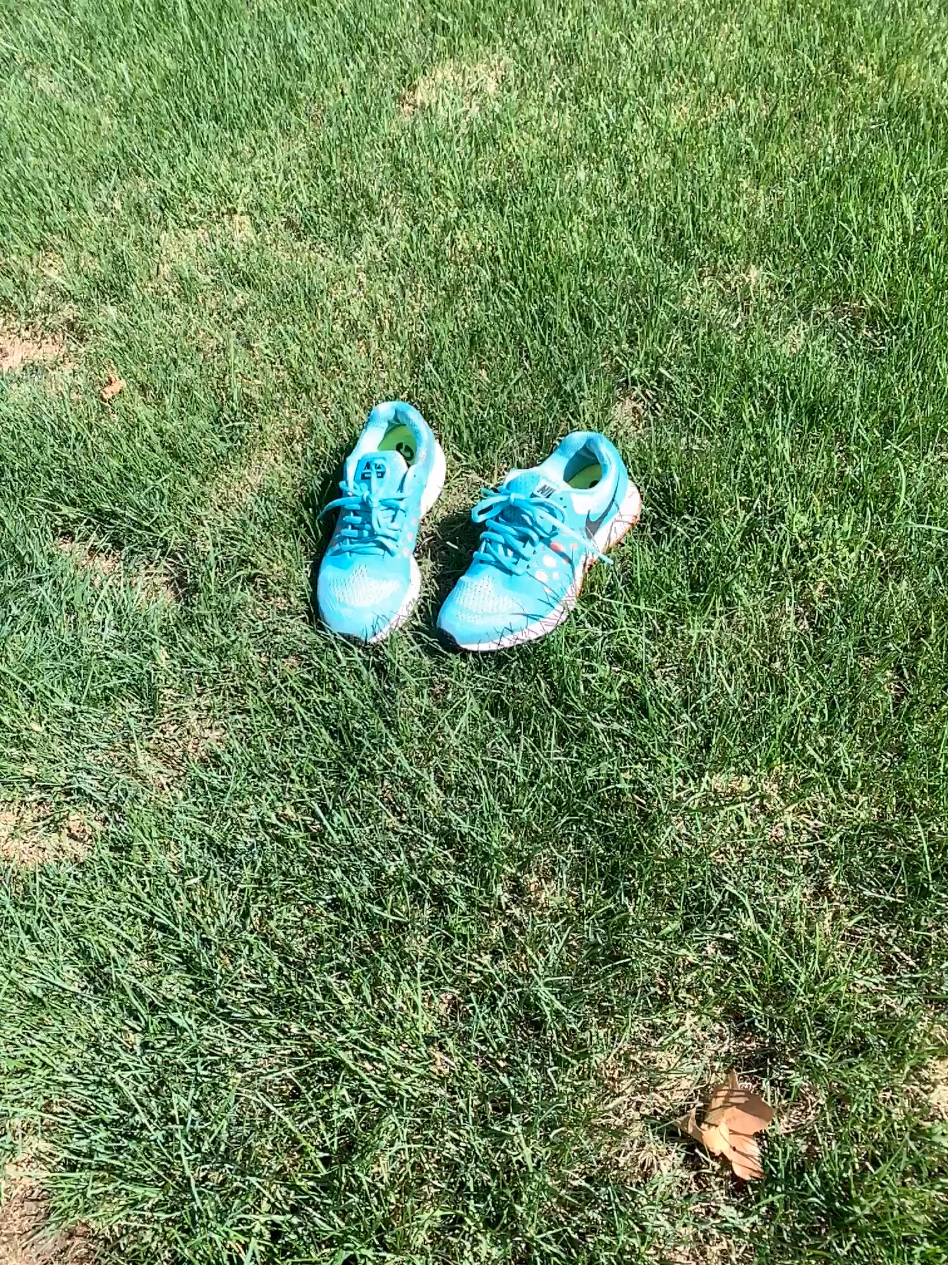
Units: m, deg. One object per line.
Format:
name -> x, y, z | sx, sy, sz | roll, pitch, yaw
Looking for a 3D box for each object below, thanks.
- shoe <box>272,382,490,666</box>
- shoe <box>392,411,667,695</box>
shoe -> -0.080, -0.111, 0.936 | 0.120, 0.090, 0.261 | 11, 58, 13
shoe -> 0.057, -0.079, 0.881 | 0.120, 0.070, 0.250 | 29, 64, 25
